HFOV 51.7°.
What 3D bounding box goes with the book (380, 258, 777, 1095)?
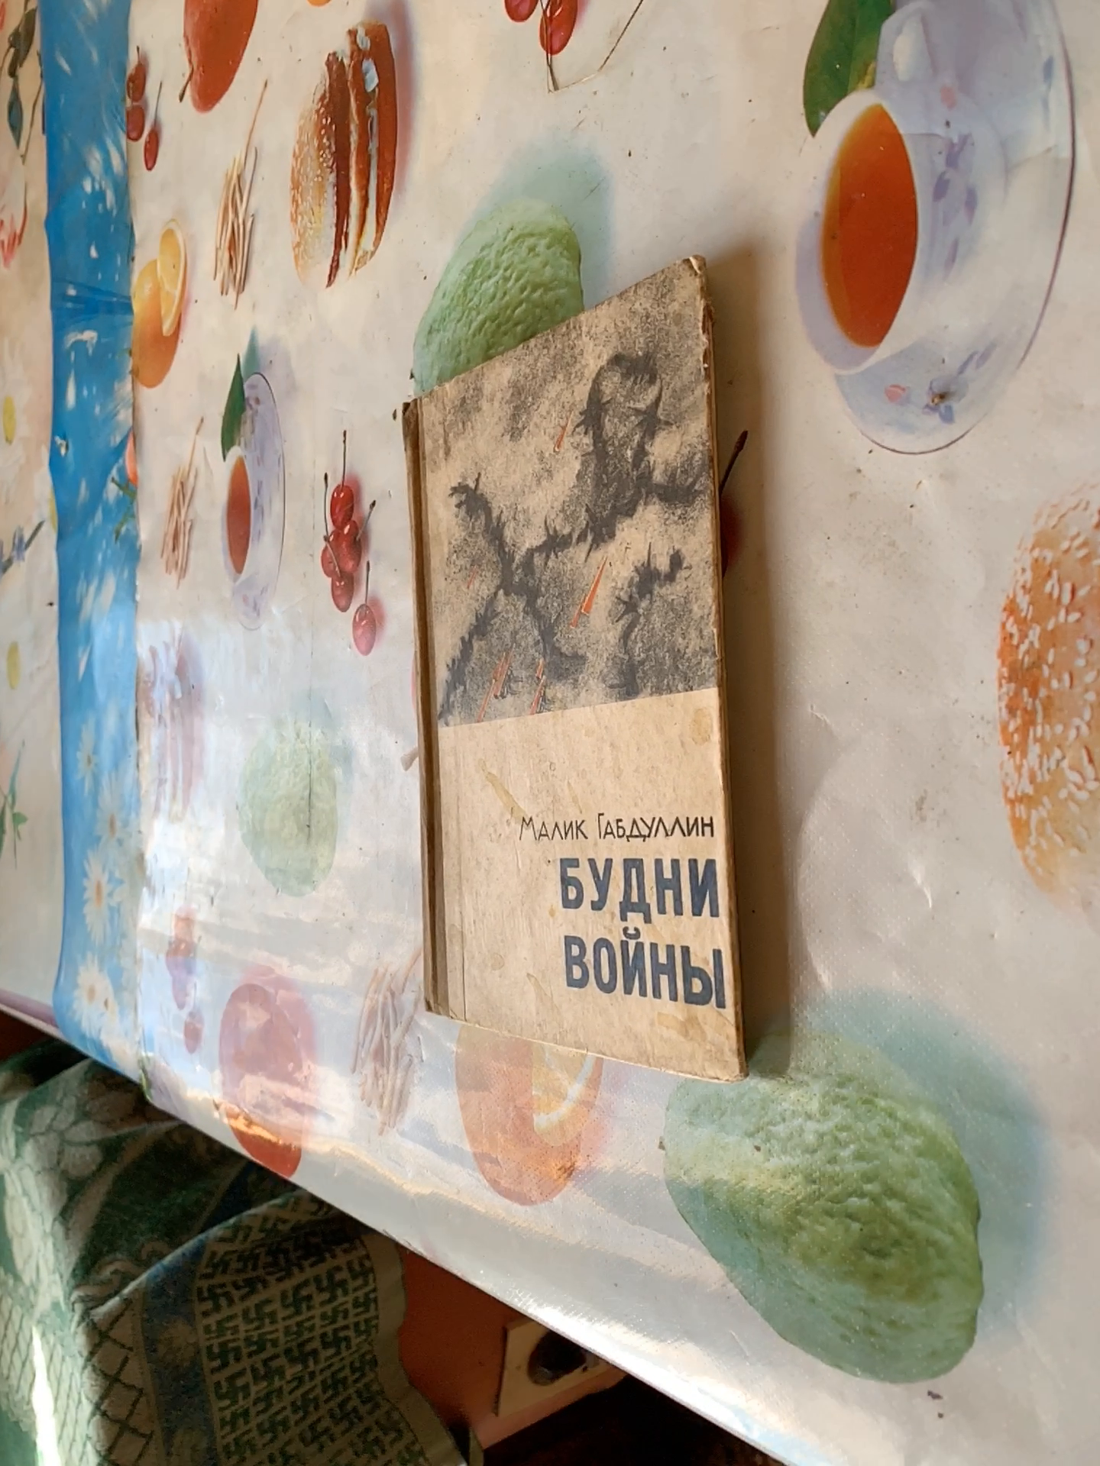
[{"bbox_3d":[-0.001,-0.011,0.322,0.137,0.018,0.196,-6,85,49],"label":"book"}]
